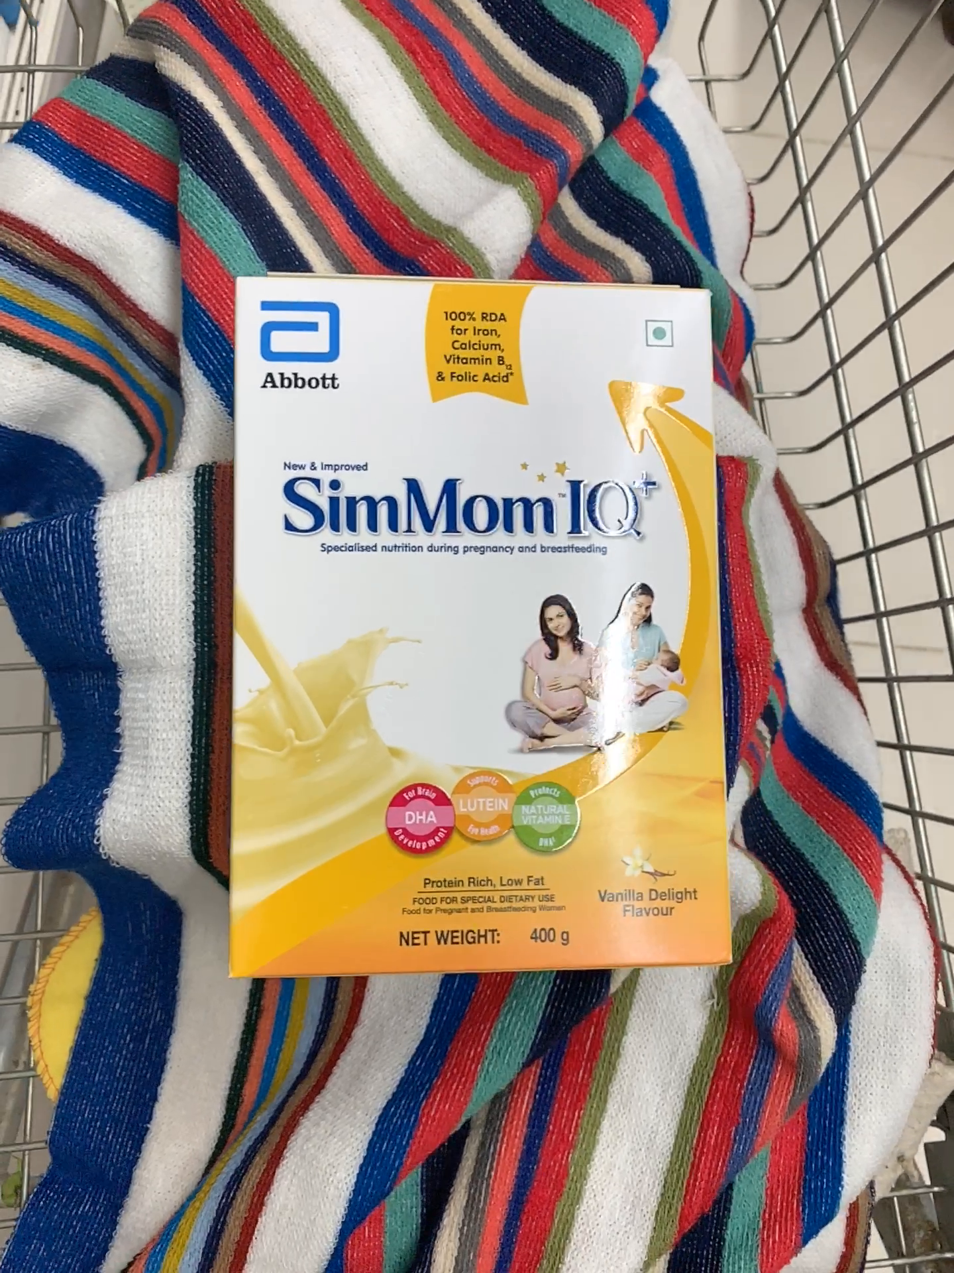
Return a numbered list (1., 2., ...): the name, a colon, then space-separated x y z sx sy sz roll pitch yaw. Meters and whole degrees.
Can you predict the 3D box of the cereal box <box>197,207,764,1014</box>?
1. cereal box: 0.001 -0.007 0.274 0.140 0.050 0.200 1 86 -5
